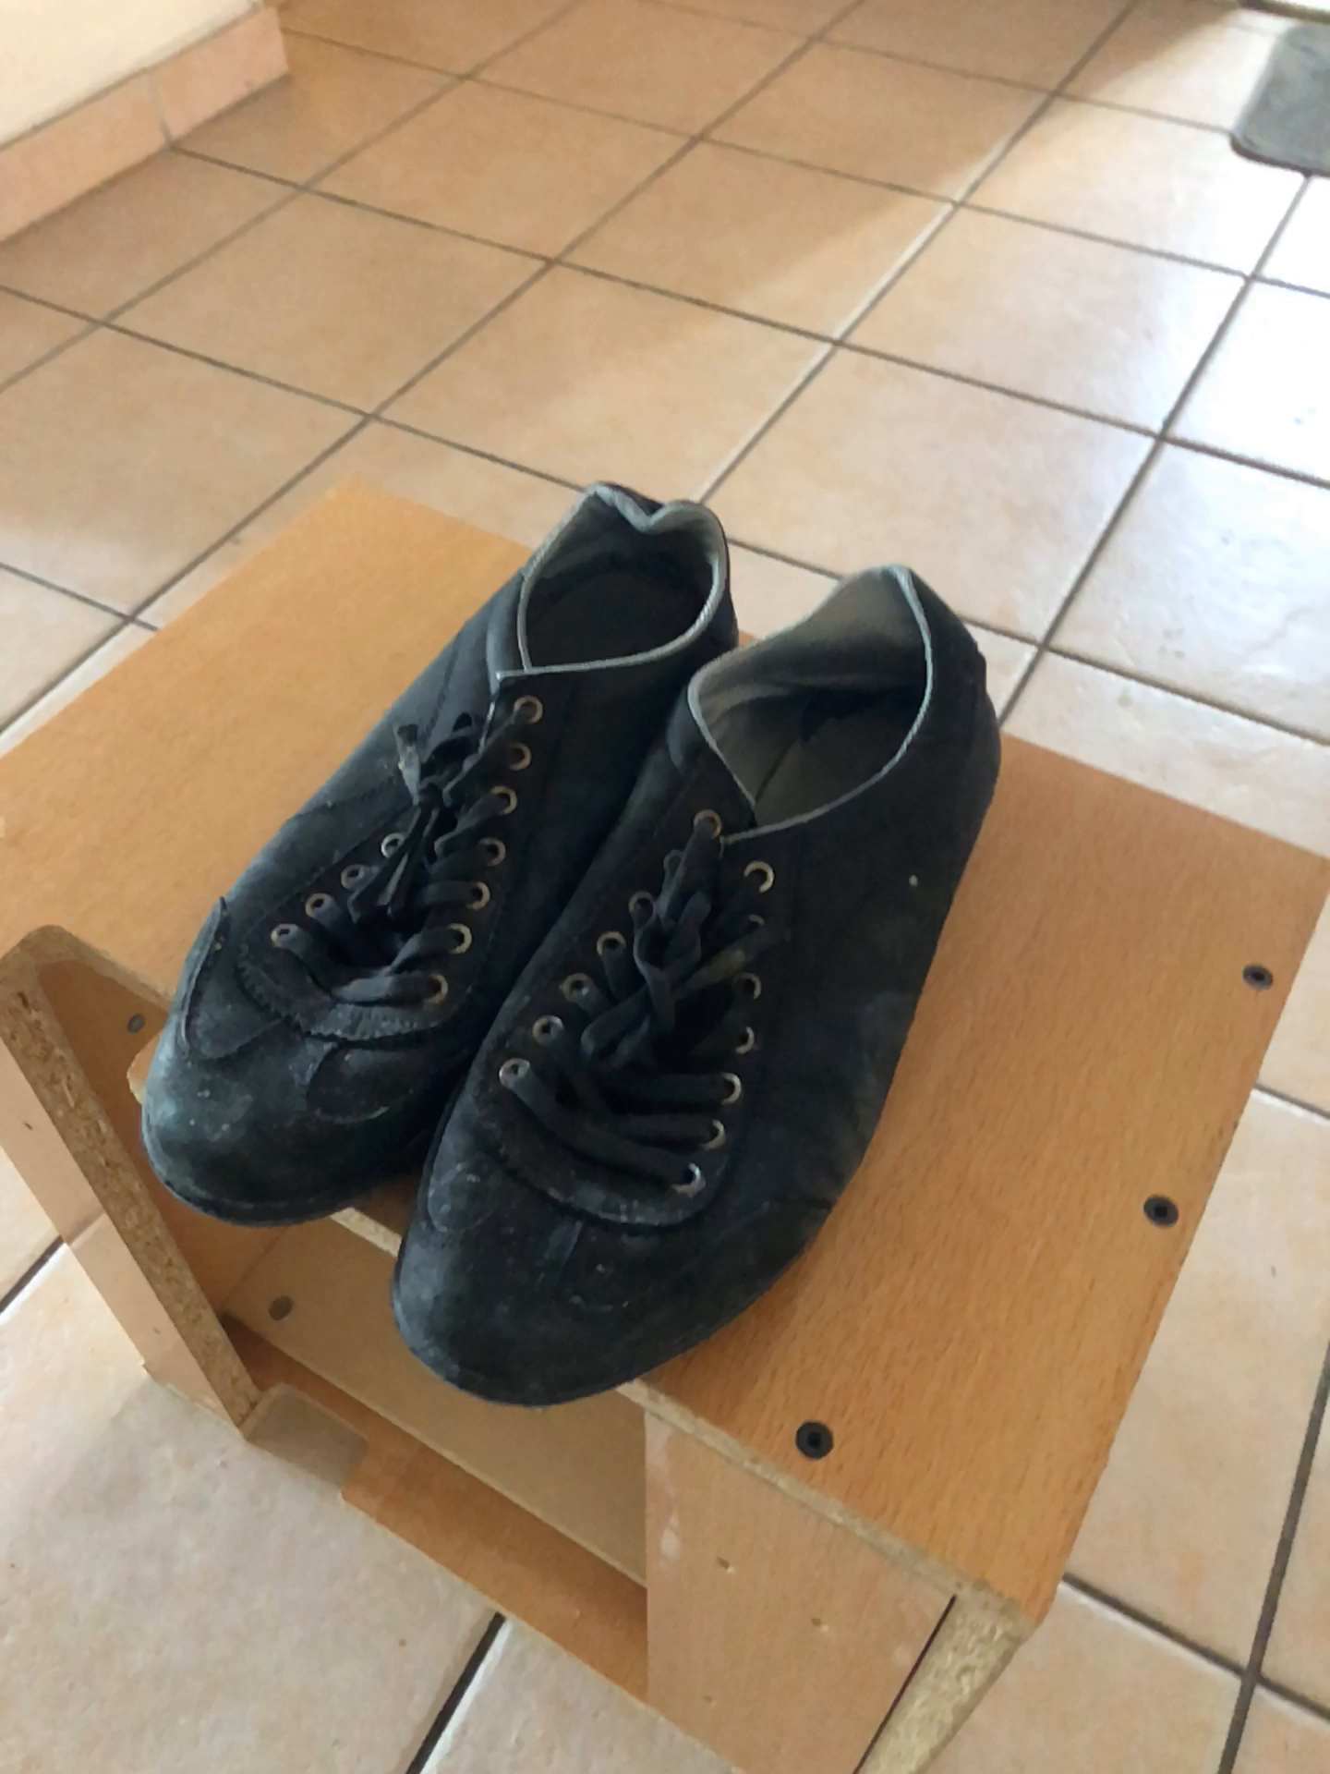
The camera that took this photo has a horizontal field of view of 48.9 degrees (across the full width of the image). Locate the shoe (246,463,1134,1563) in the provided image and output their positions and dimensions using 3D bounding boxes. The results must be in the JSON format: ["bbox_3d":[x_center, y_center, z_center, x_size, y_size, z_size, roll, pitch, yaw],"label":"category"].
[{"bbox_3d":[0.028,0.010,0.428,0.110,0.089,0.312,22,54,17],"label":"shoe"}]

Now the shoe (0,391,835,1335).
[{"bbox_3d":[-0.060,-0.029,0.466,0.110,0.089,0.302,22,54,17],"label":"shoe"}]
